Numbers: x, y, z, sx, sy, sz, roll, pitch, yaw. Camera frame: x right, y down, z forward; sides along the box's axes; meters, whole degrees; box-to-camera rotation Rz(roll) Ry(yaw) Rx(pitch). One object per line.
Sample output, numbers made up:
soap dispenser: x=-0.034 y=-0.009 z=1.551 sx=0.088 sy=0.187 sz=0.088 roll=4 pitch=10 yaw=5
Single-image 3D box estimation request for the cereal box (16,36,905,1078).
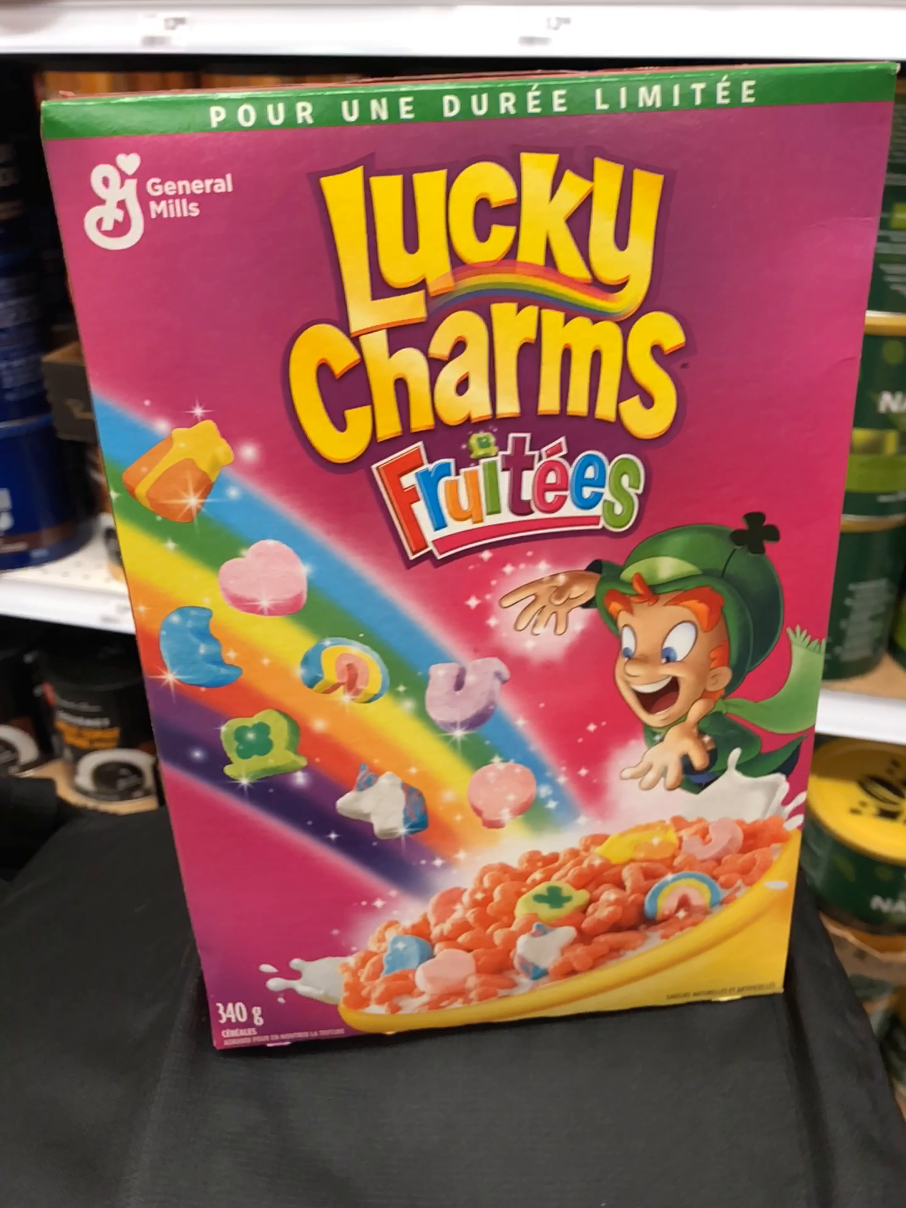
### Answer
cereal box: x=0.008 y=0.001 z=0.309 sx=0.200 sy=0.299 sz=0.060 roll=-4 pitch=25 yaw=-6
